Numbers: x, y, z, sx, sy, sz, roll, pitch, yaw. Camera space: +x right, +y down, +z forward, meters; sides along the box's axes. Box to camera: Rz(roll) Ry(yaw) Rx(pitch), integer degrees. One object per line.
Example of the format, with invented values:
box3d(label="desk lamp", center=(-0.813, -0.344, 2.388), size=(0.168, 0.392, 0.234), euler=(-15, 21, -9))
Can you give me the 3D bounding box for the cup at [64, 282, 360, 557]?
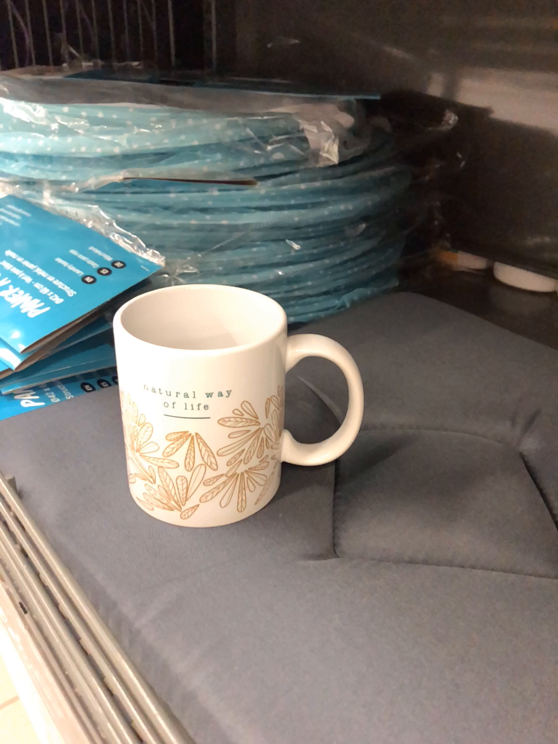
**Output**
box3d(label="cup", center=(-0.027, 0.019, 0.311), size=(0.120, 0.099, 0.091), euler=(3, 27, 2))
